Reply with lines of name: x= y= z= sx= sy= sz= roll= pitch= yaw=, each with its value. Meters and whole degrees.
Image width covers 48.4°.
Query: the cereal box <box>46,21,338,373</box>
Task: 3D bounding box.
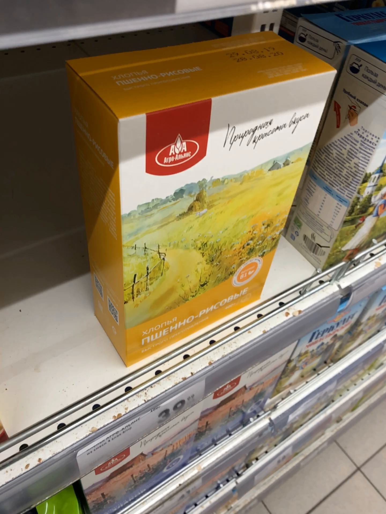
cereal box: x=-0.005 y=-0.028 z=0.279 sx=0.130 sy=0.199 sz=0.060 roll=-24 pitch=54 yaw=-26
